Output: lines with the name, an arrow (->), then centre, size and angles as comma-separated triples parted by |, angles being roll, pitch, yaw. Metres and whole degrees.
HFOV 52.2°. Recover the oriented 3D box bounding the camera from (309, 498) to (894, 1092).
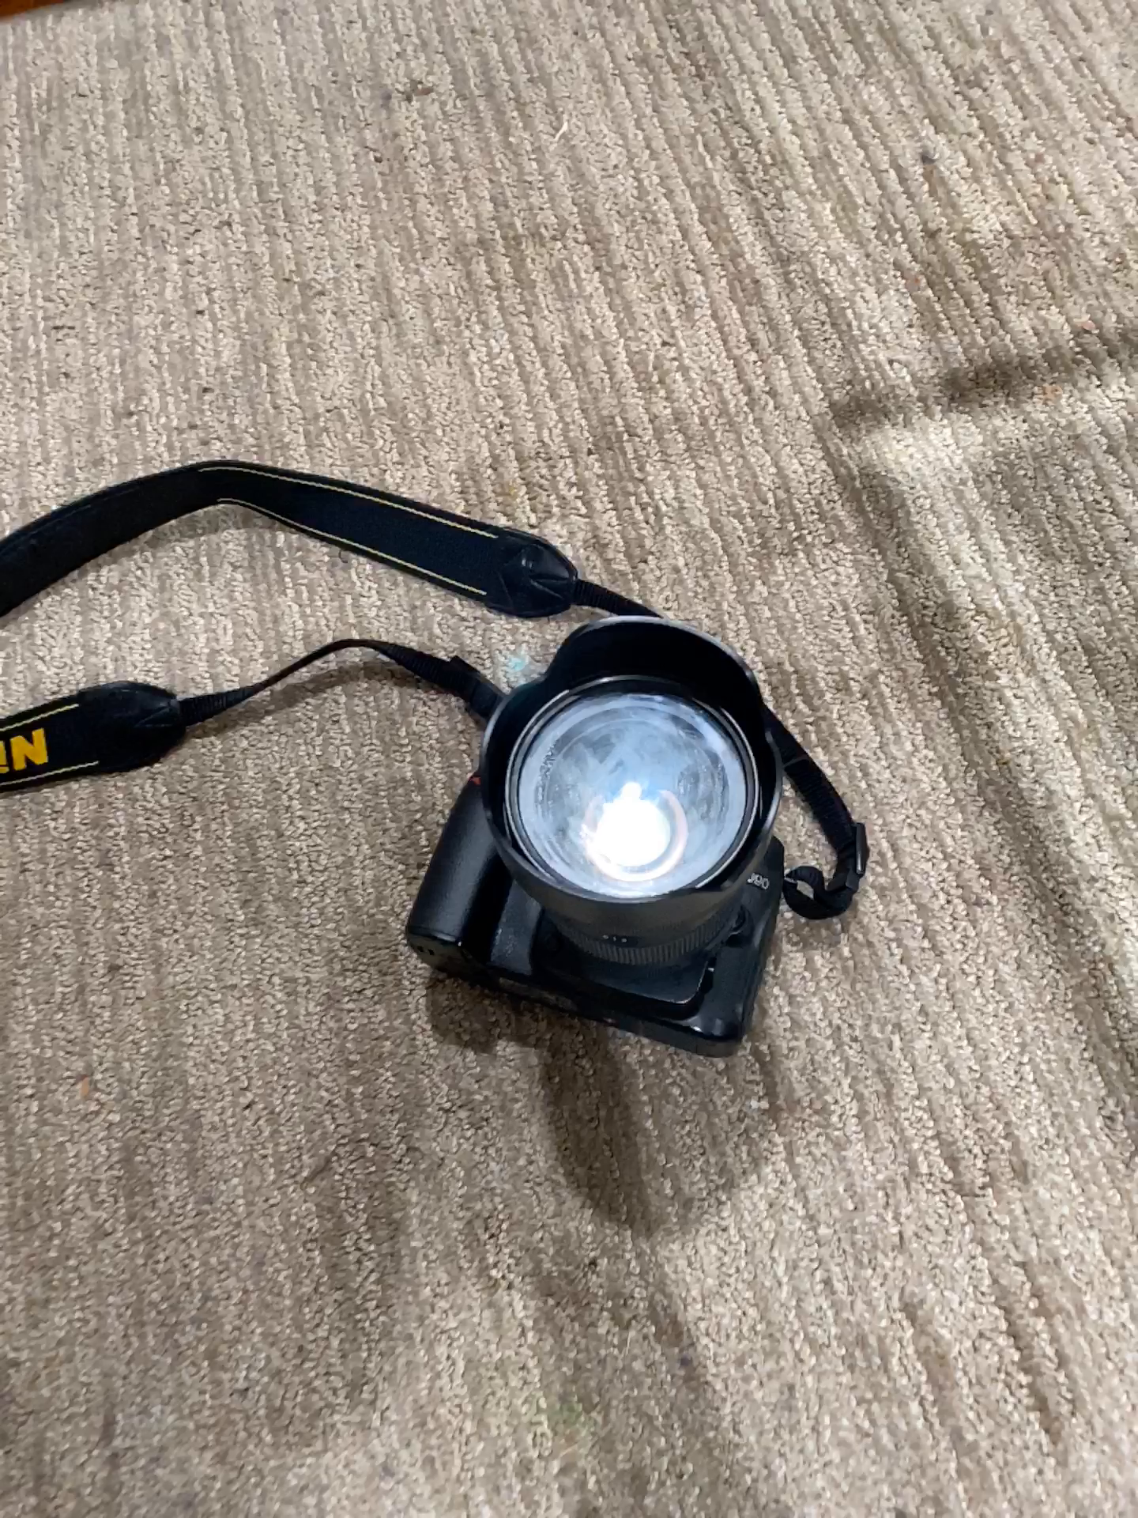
camera -> 0.015, 0.022, 0.402 | 0.138, 0.166, 0.114 | 15, 65, 10
